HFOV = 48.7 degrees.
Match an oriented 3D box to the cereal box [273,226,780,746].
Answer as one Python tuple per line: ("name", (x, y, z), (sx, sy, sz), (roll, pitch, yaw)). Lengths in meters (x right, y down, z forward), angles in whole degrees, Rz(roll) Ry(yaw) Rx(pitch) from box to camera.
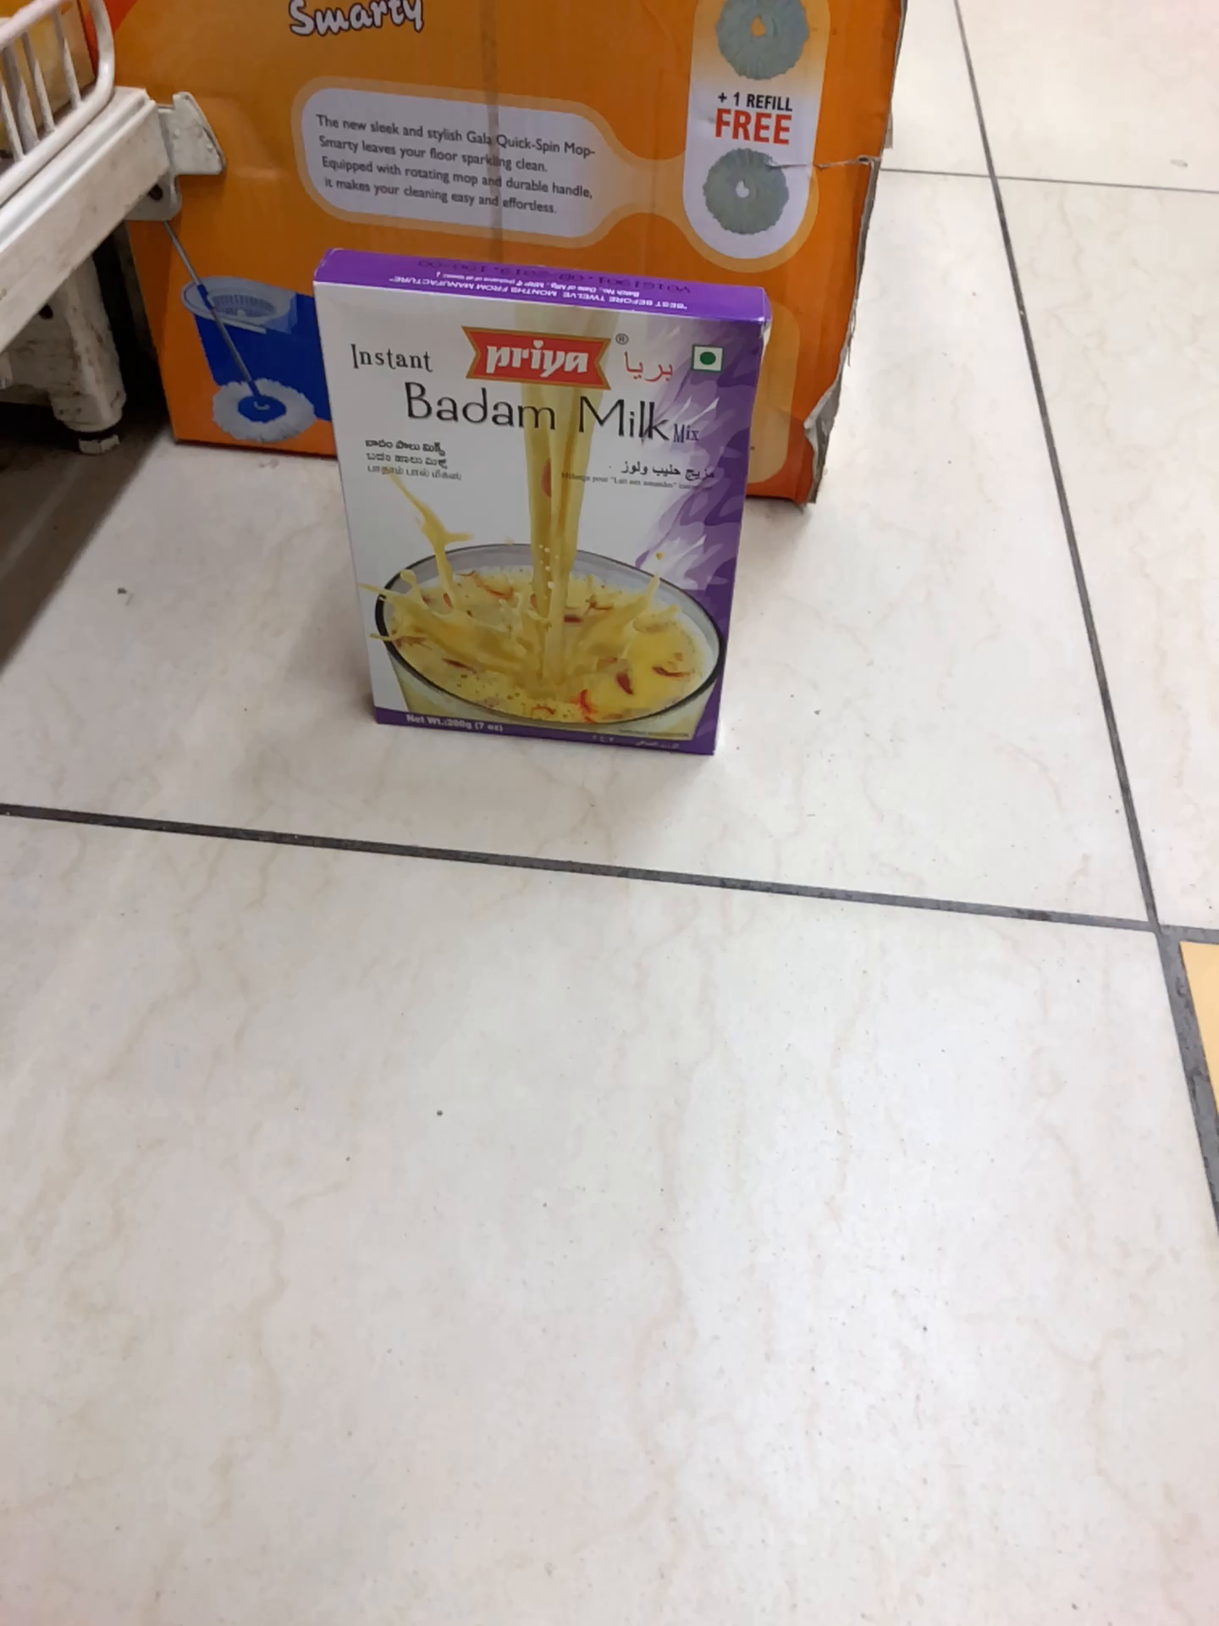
("cereal box", (-0.023, -0.091, 0.407), (0.130, 0.149, 0.030), (5, 46, 3))
